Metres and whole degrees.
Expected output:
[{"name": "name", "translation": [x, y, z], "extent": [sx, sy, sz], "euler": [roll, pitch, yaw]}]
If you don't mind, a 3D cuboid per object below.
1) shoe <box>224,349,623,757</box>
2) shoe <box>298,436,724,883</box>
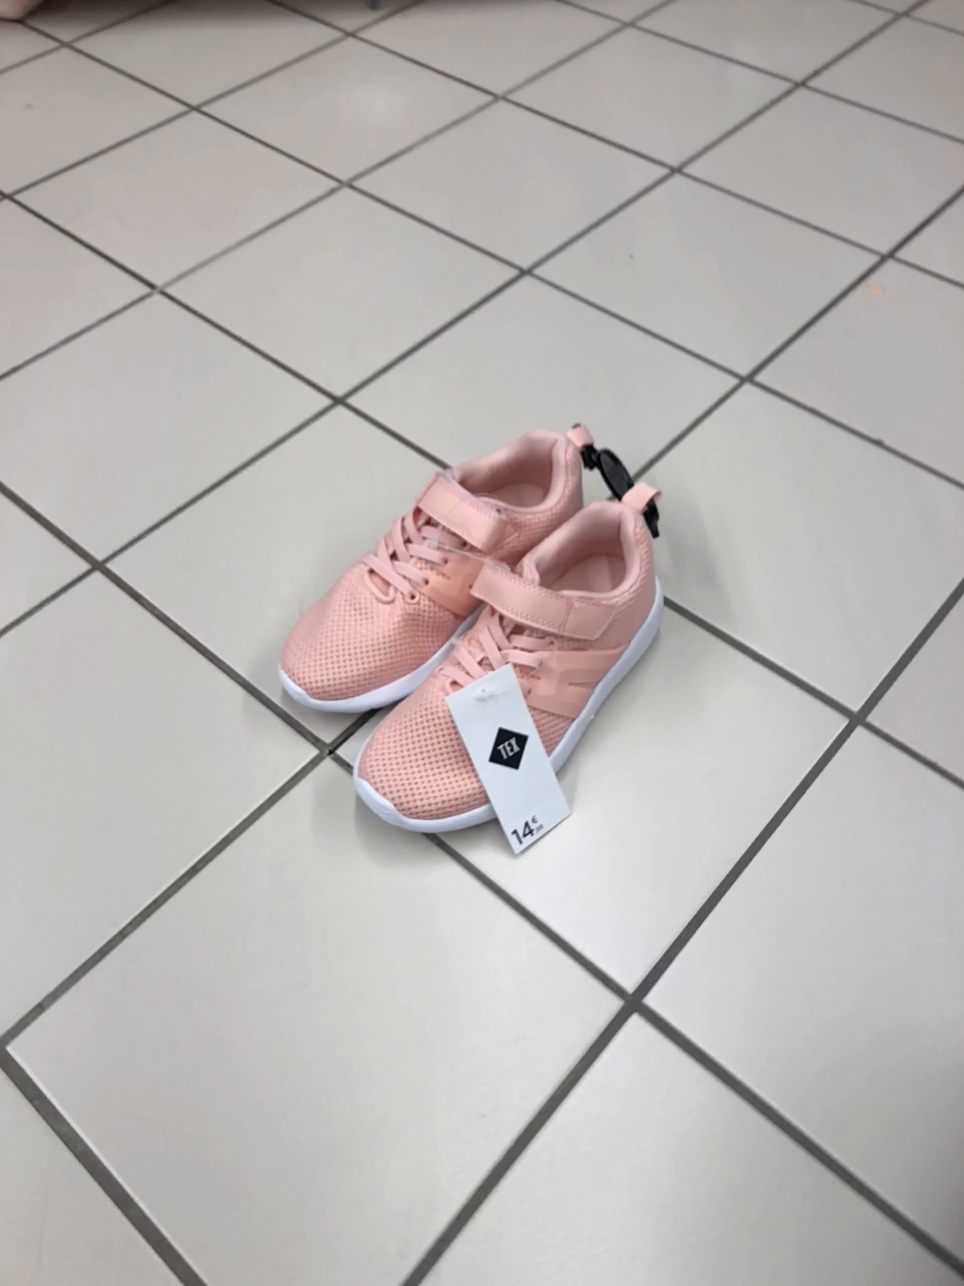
[{"name": "shoe", "translation": [-0.023, -0.054, 0.572], "extent": [0.080, 0.092, 0.211], "euler": [34, 60, 24]}, {"name": "shoe", "translation": [0.020, 0.003, 0.527], "extent": [0.083, 0.093, 0.204], "euler": [35, 60, 25]}]
